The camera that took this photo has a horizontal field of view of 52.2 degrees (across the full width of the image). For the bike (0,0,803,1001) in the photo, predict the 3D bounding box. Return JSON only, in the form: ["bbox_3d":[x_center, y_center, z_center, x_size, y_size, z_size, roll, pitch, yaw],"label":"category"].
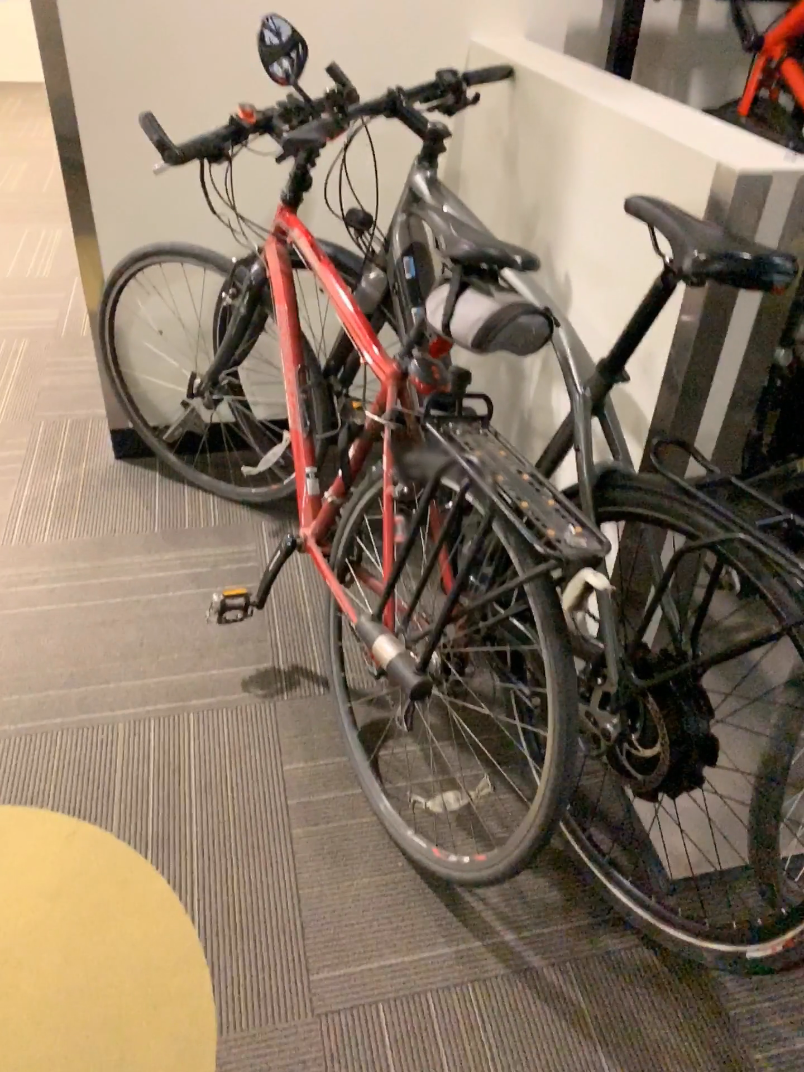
[{"bbox_3d":[-0.173,-0.254,1.489,0.603,0.927,1.619,-21,48,-29],"label":"bike"}]

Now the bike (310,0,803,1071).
[{"bbox_3d":[0.391,0.070,1.088,0.693,1.148,0.729,-20,48,-28],"label":"bike"}]
